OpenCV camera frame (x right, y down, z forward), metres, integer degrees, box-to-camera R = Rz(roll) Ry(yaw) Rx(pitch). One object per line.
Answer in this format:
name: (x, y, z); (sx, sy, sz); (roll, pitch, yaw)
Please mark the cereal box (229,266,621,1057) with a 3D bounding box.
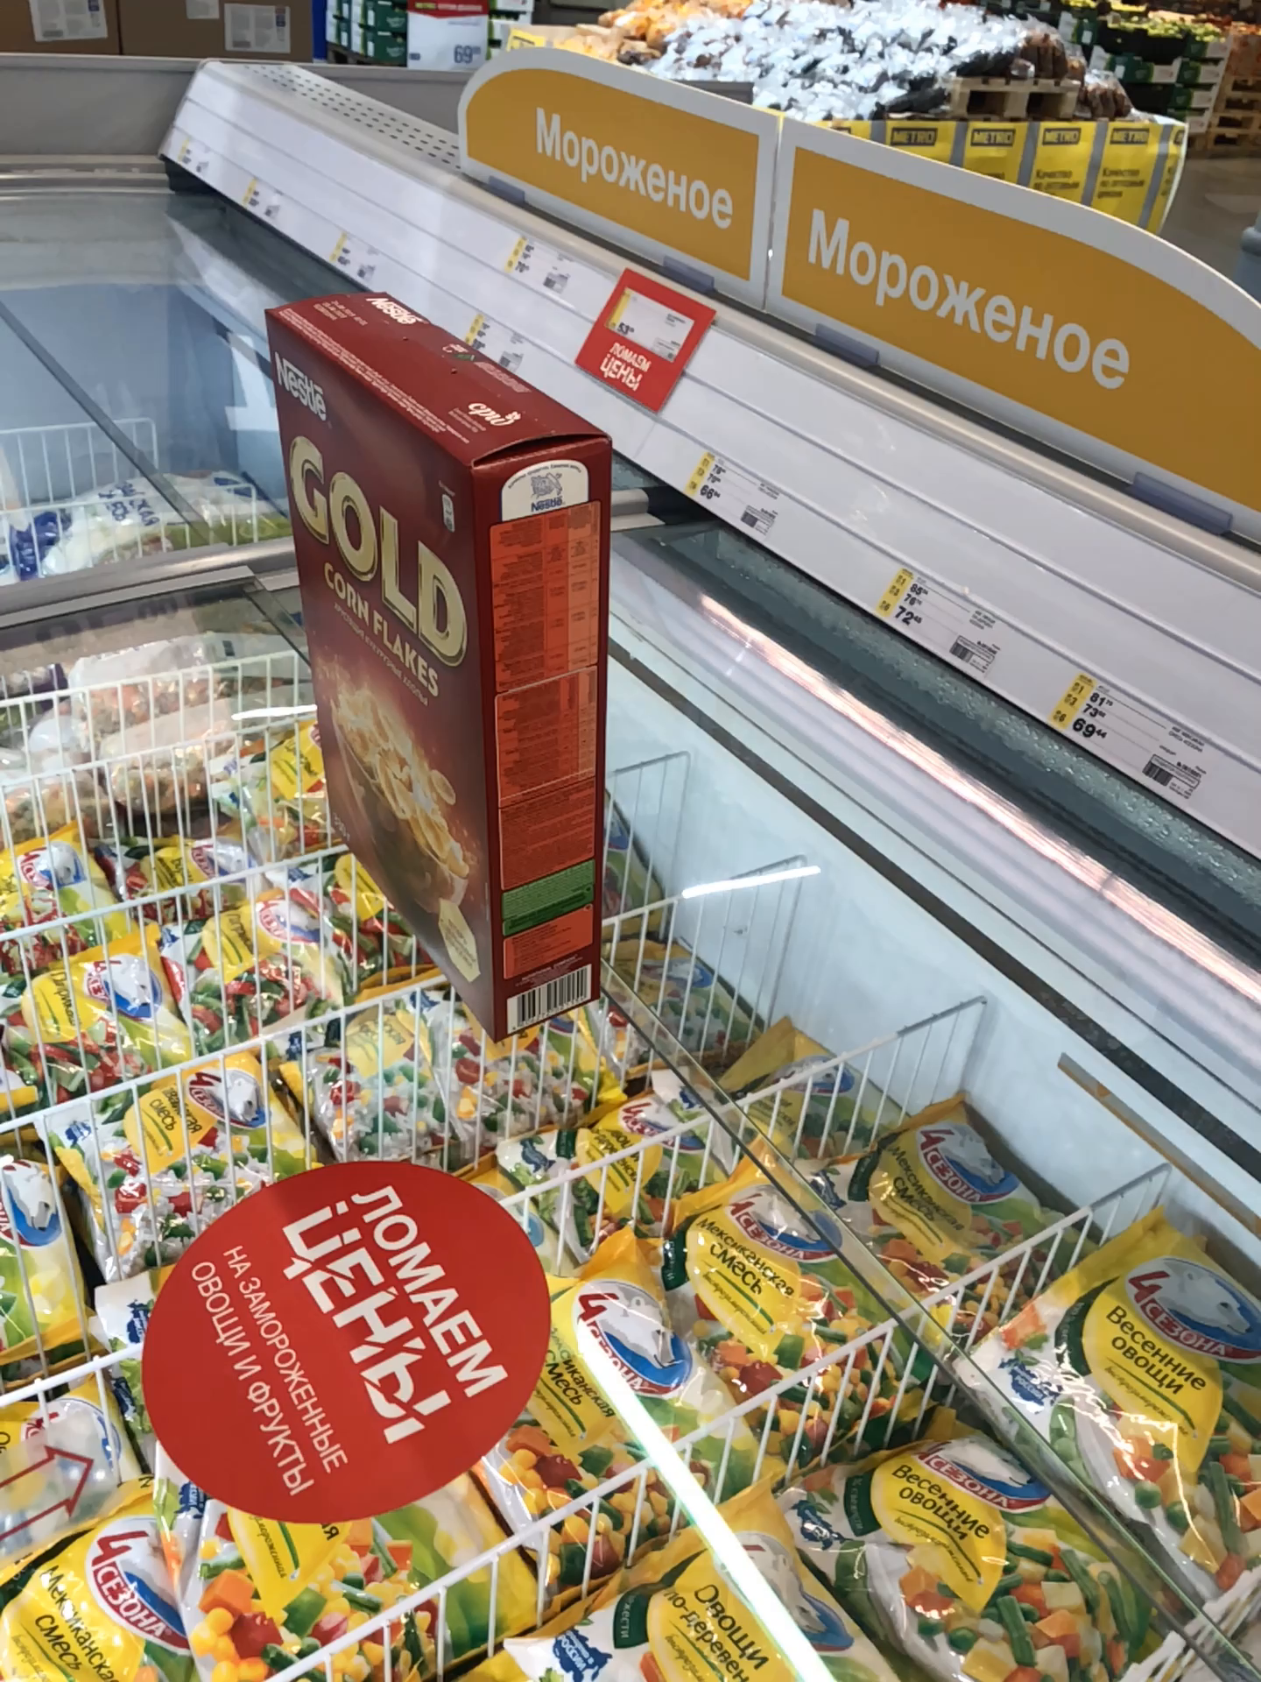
cereal box: (-0.087, -0.077, 0.584); (0.060, 0.258, 0.211); (-19, 42, -25)
